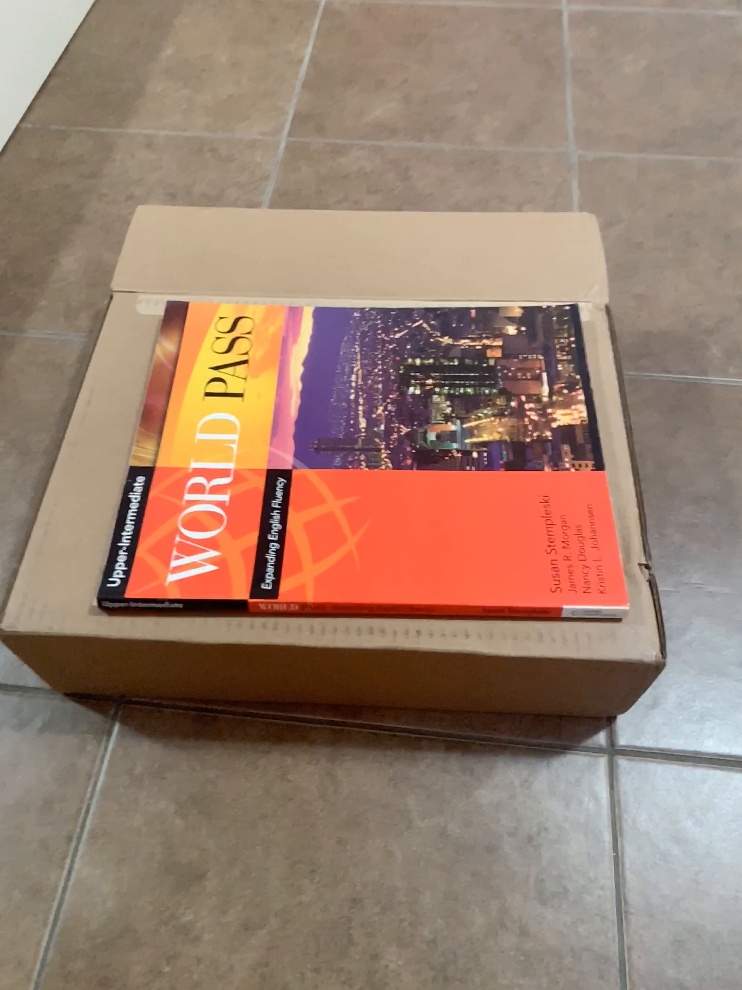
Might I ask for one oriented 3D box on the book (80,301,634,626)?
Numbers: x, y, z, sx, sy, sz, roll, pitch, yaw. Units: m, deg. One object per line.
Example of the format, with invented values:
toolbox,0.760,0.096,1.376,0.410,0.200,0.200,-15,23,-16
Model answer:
book,-0.005,-0.030,0.434,0.270,0.018,0.211,1,57,2
